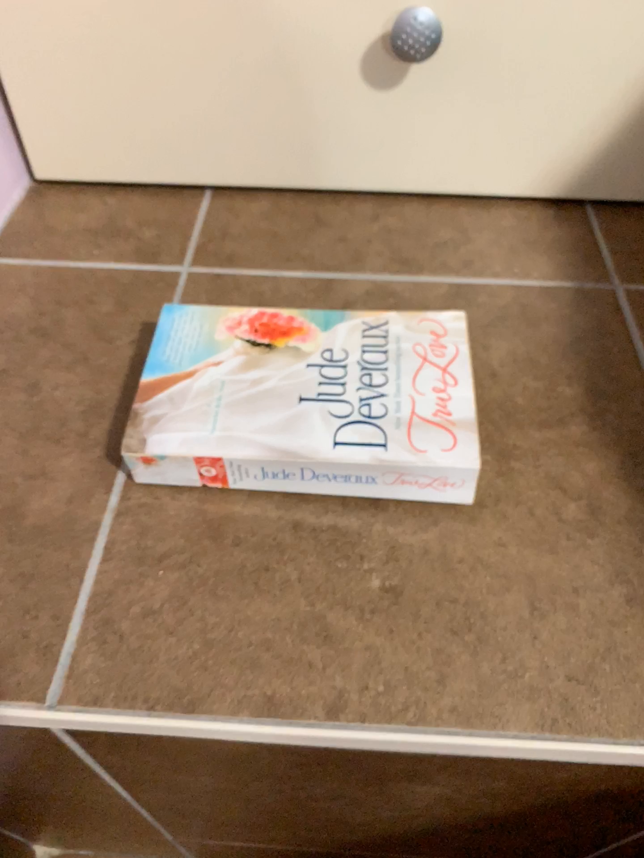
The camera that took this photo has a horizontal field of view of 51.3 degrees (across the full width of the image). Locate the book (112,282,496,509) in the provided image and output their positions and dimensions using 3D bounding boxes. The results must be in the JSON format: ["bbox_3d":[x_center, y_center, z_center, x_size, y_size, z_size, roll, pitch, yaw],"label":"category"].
[{"bbox_3d":[-0.005,-0.022,0.363,0.179,0.047,0.107,4,50,3],"label":"book"}]
